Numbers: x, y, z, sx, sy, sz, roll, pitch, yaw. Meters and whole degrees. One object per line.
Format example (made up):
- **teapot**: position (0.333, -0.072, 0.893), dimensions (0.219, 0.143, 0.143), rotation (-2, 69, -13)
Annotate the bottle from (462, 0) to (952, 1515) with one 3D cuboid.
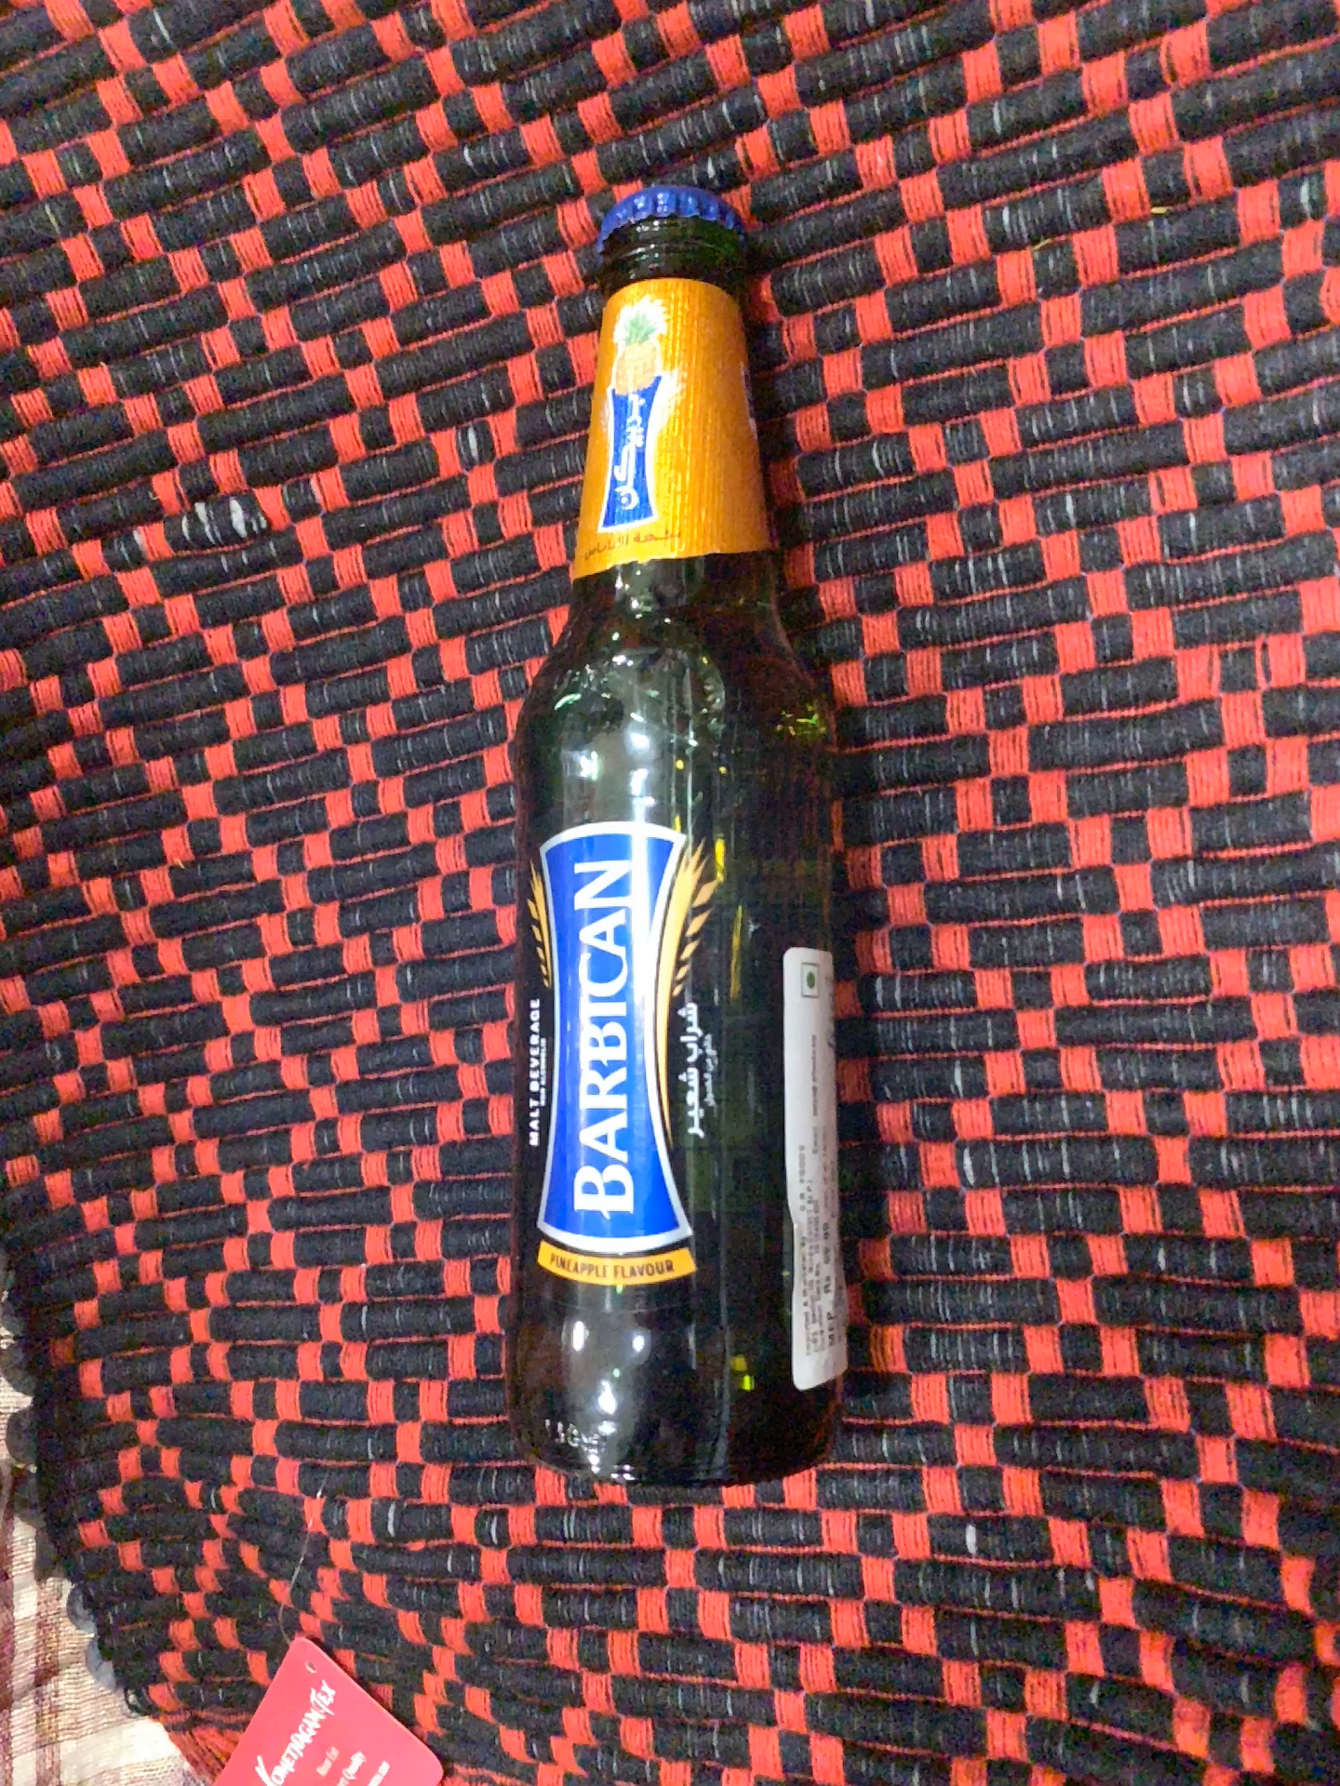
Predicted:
- **bottle**: position (0.011, -0.030, 0.255), dimensions (0.060, 0.070, 0.250), rotation (-4, 79, 25)
